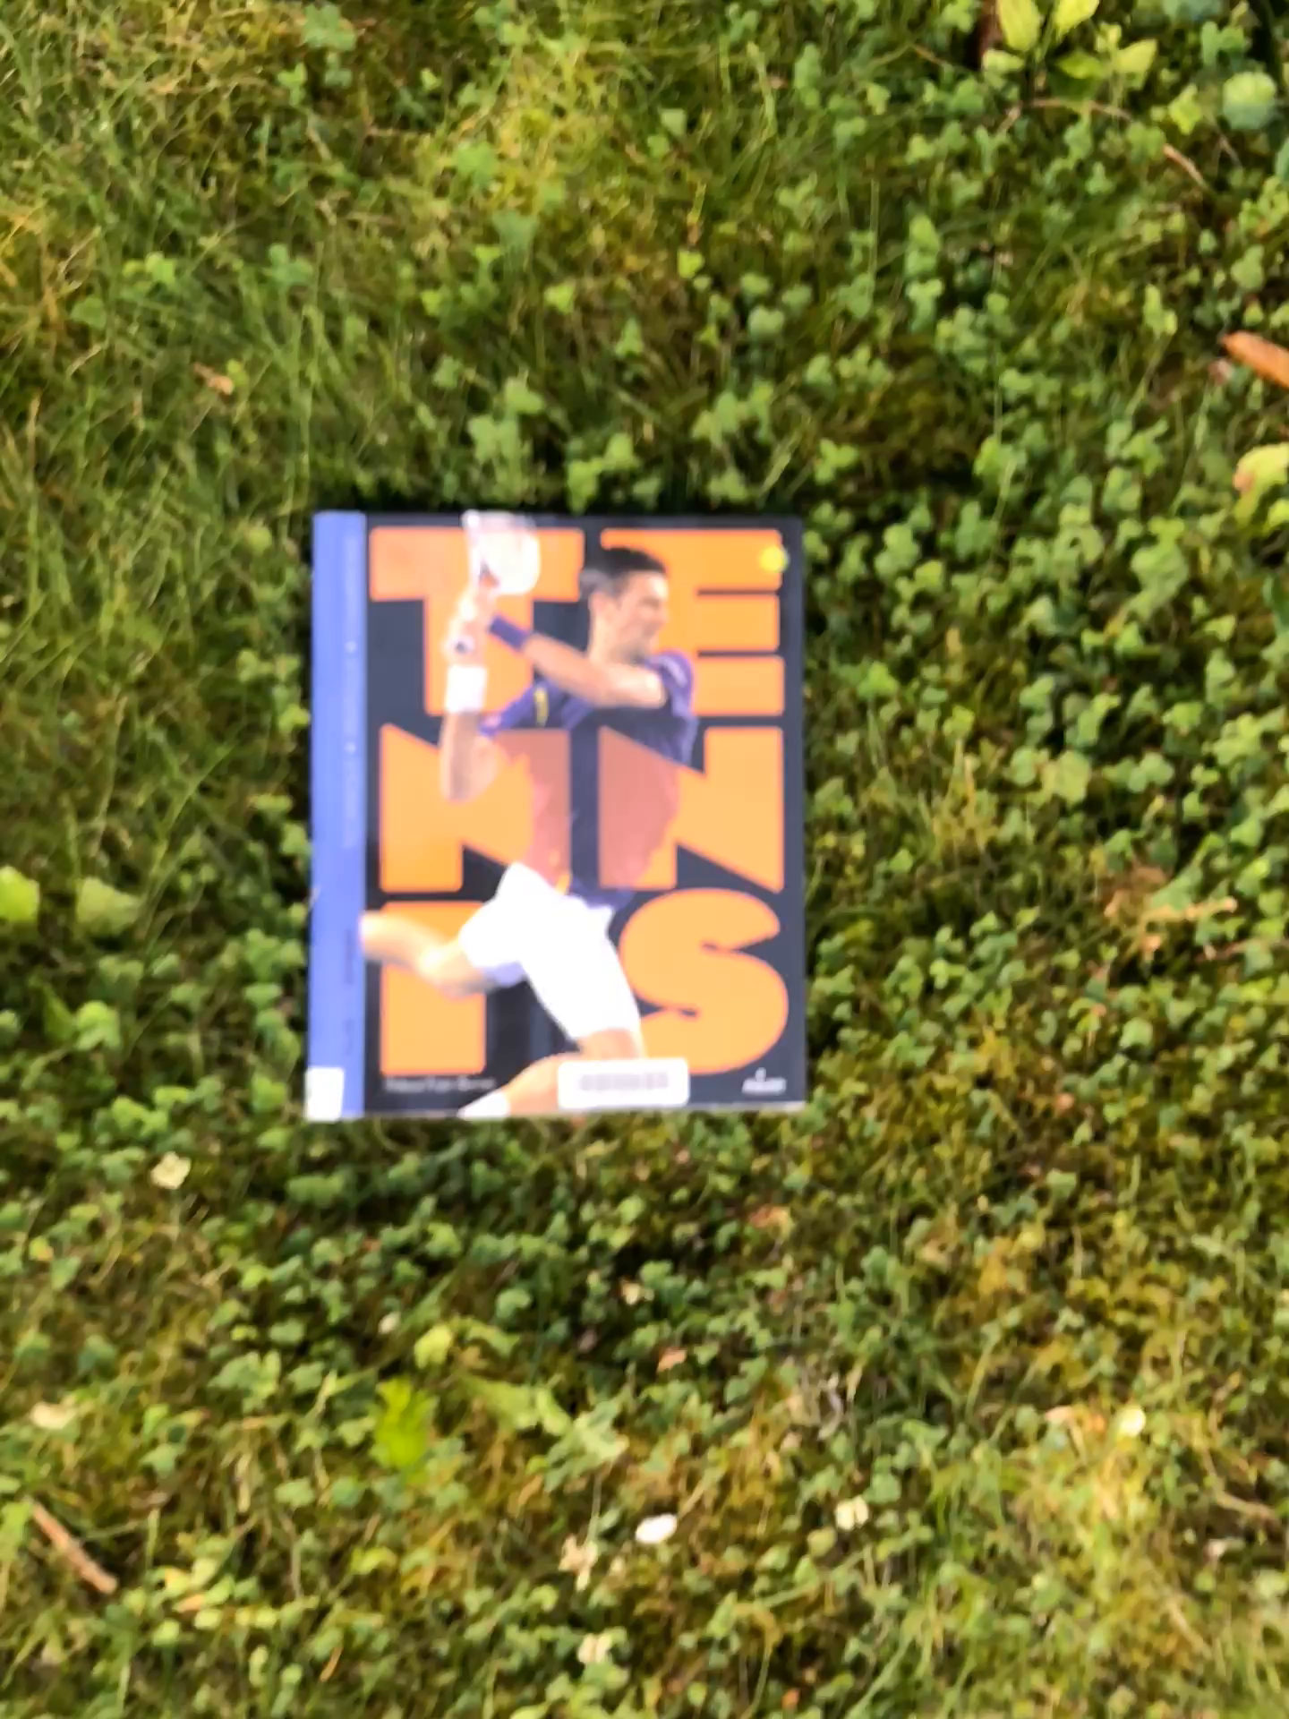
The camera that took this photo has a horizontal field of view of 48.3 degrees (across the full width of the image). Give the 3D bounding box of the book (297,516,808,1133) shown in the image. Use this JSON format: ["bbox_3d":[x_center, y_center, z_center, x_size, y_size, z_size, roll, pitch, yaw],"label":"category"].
[{"bbox_3d":[-0.036,-0.016,0.576,0.198,0.017,0.240,-1,87,-5],"label":"book"}]
